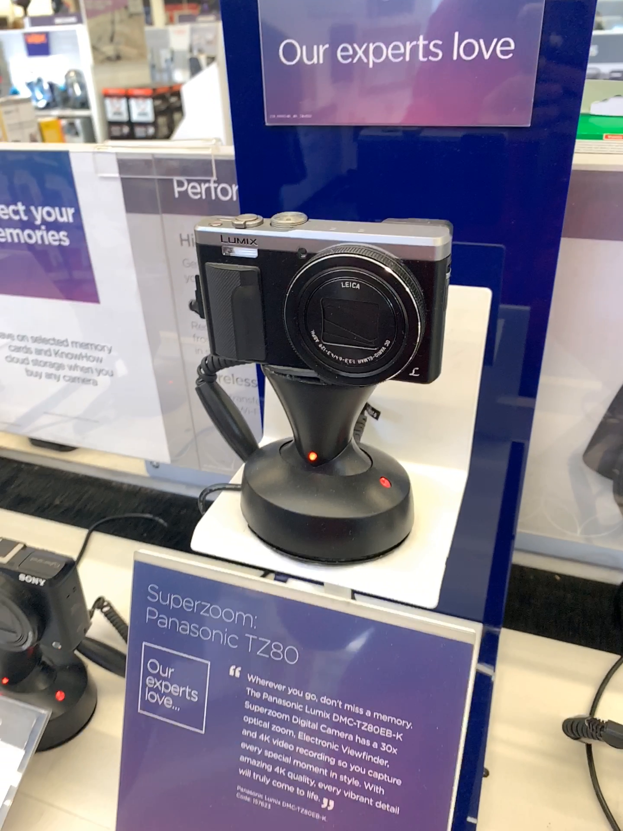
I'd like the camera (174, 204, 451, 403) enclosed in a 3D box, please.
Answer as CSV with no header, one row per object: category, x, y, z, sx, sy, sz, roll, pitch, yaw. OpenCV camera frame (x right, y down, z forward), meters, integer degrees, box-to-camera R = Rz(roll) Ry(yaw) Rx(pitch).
camera,0.000,-0.050,0.283,0.110,0.069,0.030,9,32,16
